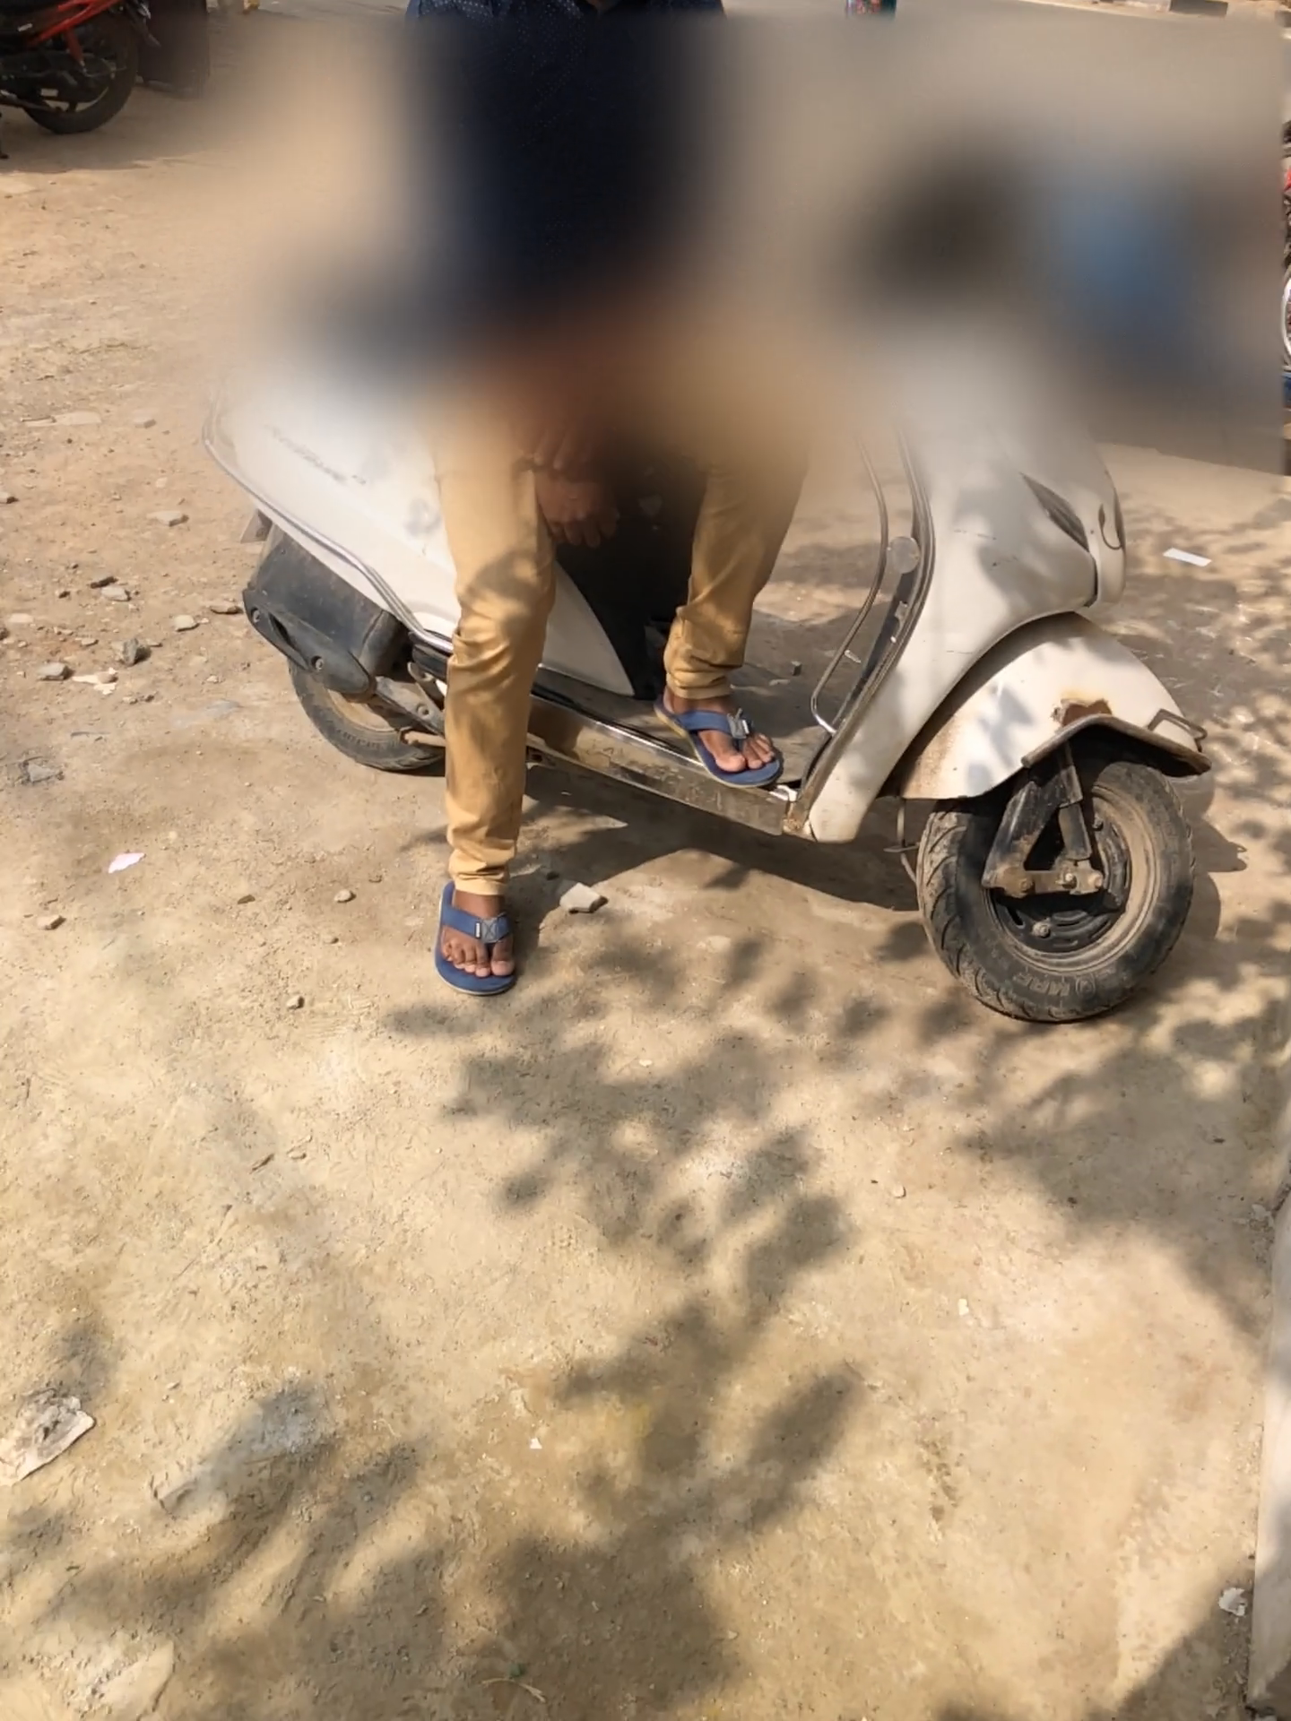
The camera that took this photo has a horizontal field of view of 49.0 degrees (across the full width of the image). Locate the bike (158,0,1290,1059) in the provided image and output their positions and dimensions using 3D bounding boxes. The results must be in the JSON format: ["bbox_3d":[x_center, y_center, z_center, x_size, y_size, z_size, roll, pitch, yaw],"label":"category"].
[{"bbox_3d":[0.187,-0.581,2.216,1.592,1.186,0.625,20,41,21],"label":"bike"}]
